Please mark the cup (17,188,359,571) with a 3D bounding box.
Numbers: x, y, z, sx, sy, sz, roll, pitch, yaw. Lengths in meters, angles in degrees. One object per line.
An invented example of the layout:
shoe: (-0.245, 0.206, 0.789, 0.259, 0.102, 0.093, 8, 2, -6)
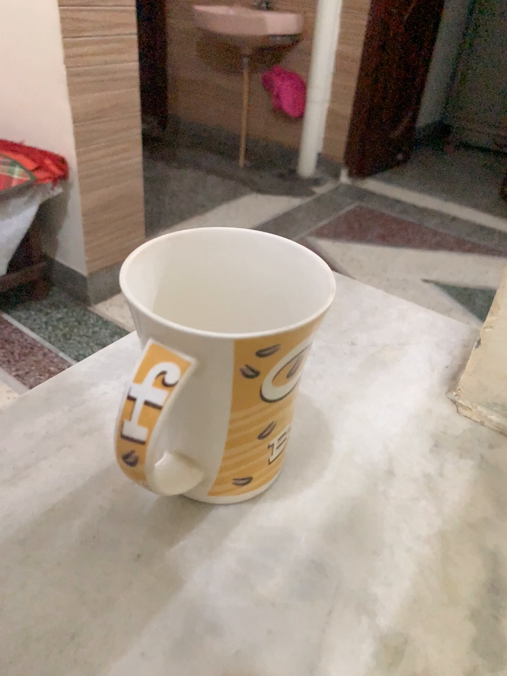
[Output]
cup: (-0.021, 0.010, 0.220, 0.080, 0.100, 0.100, 22, 39, 20)
